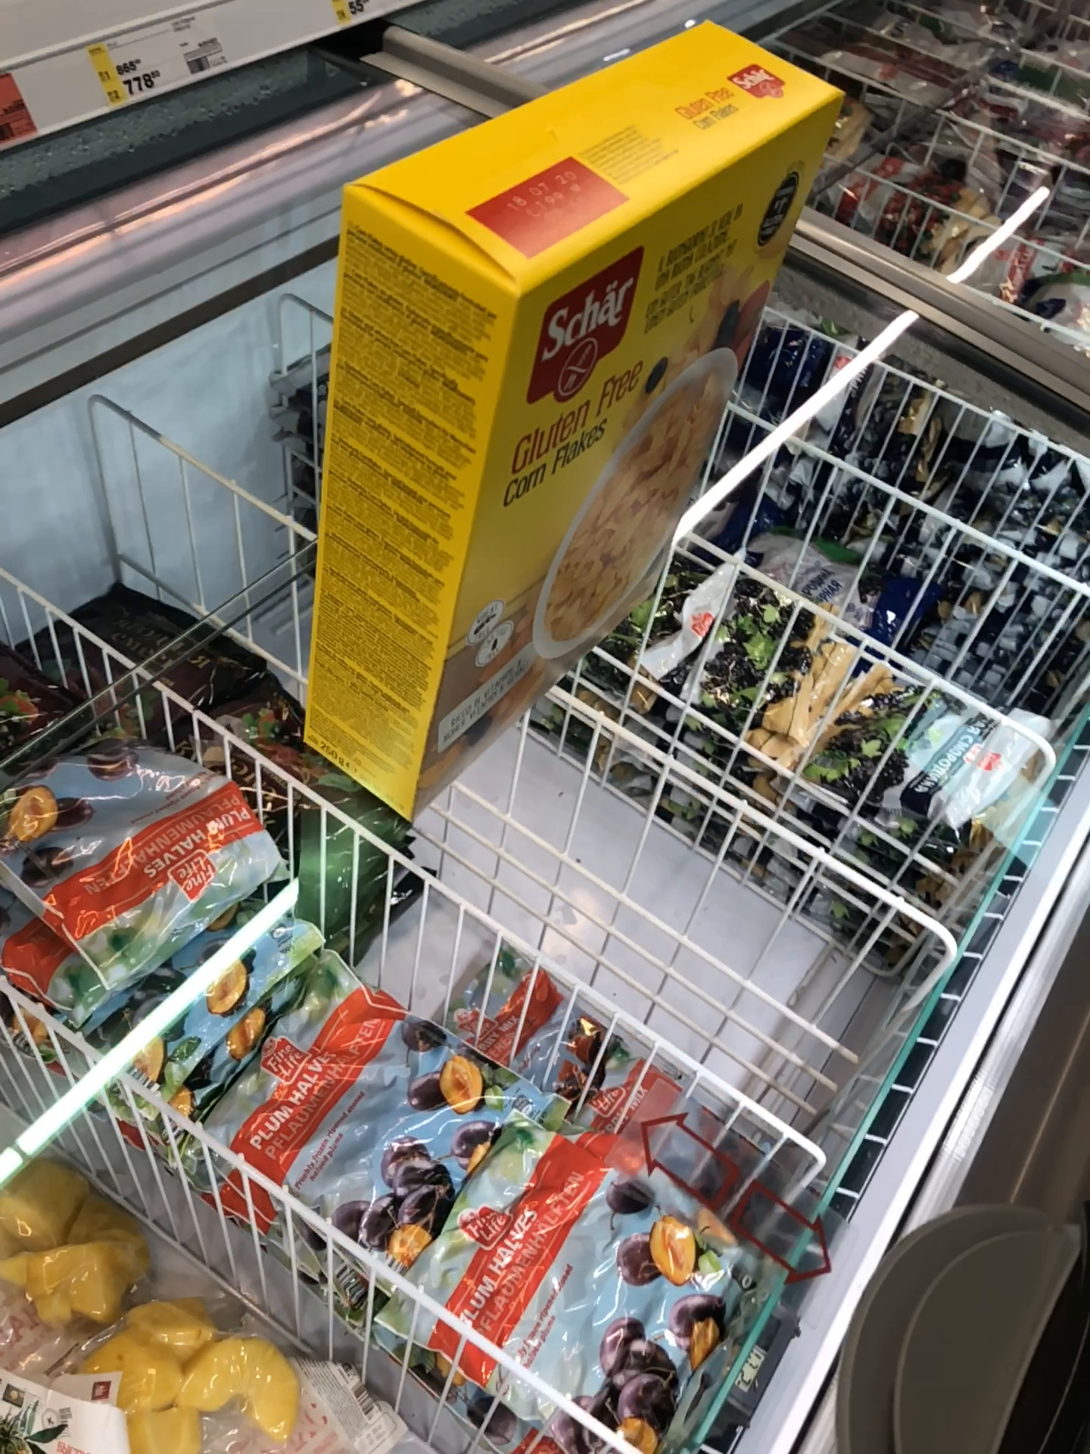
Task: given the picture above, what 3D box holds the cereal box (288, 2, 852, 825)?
[{"bbox_3d":[0.000,-0.108,0.444,0.060,0.238,0.201,35,53,14],"label":"cereal box"}]
